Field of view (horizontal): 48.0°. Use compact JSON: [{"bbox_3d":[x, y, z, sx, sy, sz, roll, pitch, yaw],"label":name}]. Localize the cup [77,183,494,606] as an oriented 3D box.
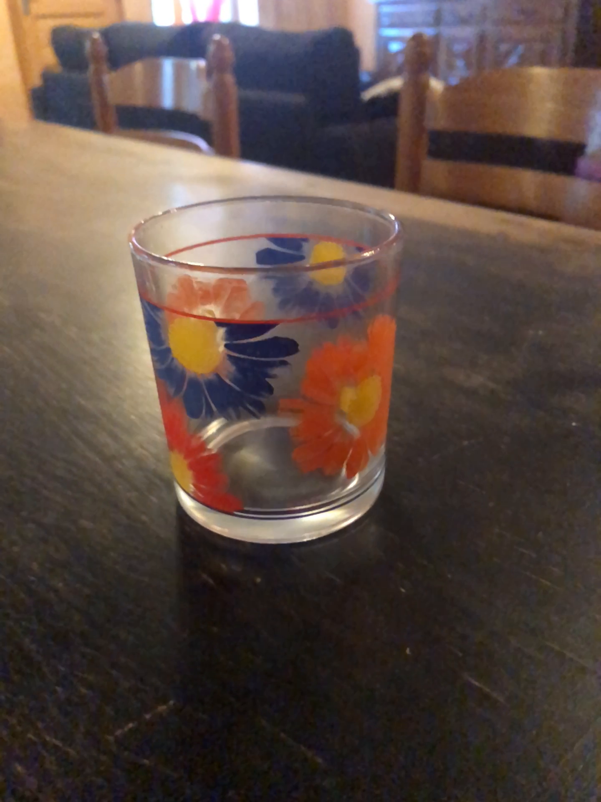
[{"bbox_3d":[-0.004,-0.011,0.194,0.078,0.079,0.076,-1,29,1],"label":"cup"}]
